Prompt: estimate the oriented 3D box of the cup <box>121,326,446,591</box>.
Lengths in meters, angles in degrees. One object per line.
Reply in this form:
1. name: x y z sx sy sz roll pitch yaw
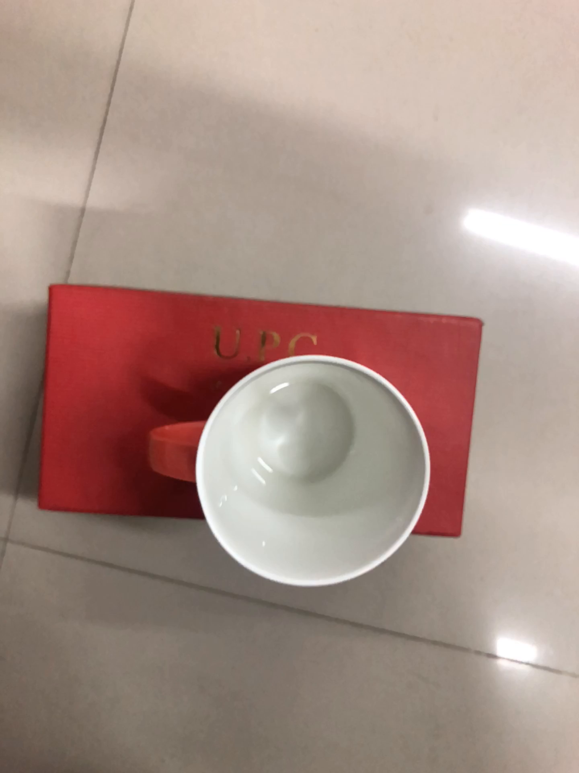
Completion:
1. cup: -0.004 0.022 0.272 0.110 0.090 0.090 2 95 -2
